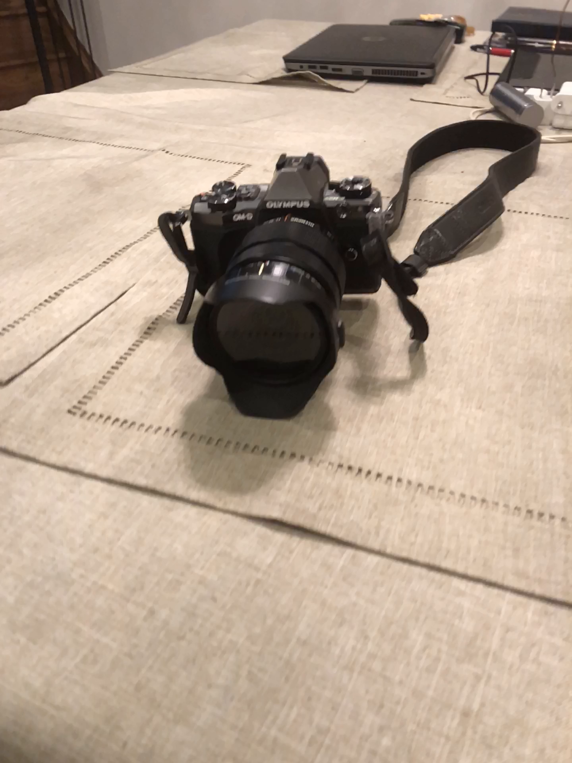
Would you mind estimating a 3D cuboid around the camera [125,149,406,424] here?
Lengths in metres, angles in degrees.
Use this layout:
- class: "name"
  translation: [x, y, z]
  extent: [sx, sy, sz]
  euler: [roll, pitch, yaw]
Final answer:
- class: "camera"
  translation: [-0.003, -0.066, 0.372]
  extent: [0.124, 0.092, 0.165]
  euler: [3, 35, 4]
